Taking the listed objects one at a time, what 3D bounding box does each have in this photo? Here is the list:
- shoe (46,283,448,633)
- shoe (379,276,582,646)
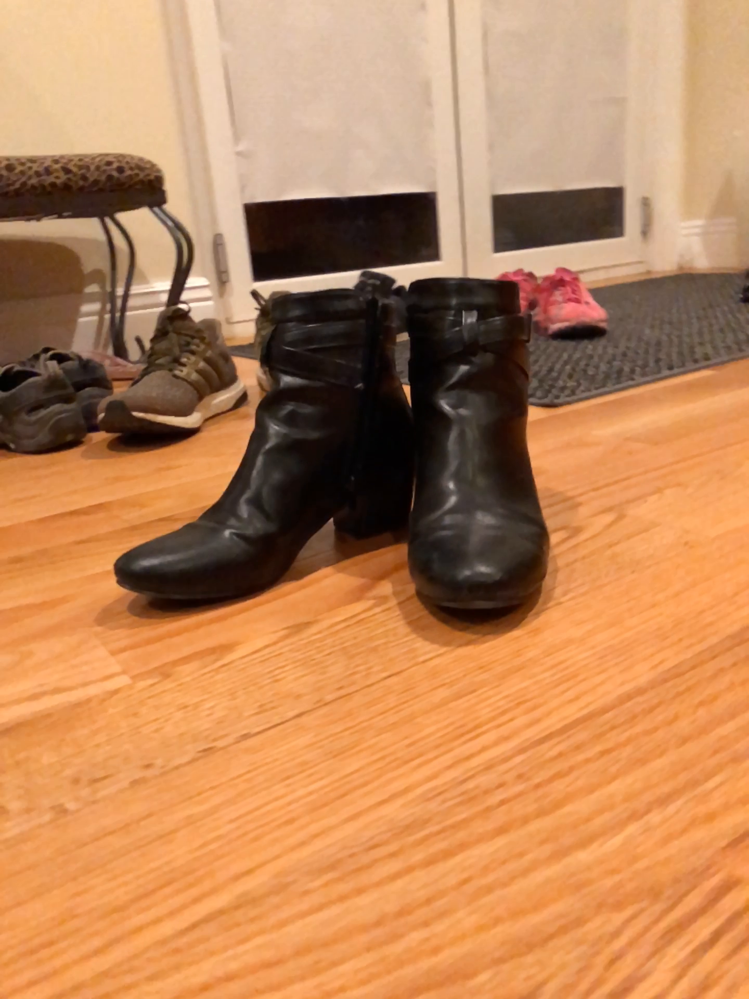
[{"bbox_3d":[-0.072,-0.042,0.543,0.226,0.172,0.090,-17,20,-33],"label":"shoe"},{"bbox_3d":[0.065,-0.042,0.512,0.090,0.172,0.227,-3,17,7],"label":"shoe"}]
